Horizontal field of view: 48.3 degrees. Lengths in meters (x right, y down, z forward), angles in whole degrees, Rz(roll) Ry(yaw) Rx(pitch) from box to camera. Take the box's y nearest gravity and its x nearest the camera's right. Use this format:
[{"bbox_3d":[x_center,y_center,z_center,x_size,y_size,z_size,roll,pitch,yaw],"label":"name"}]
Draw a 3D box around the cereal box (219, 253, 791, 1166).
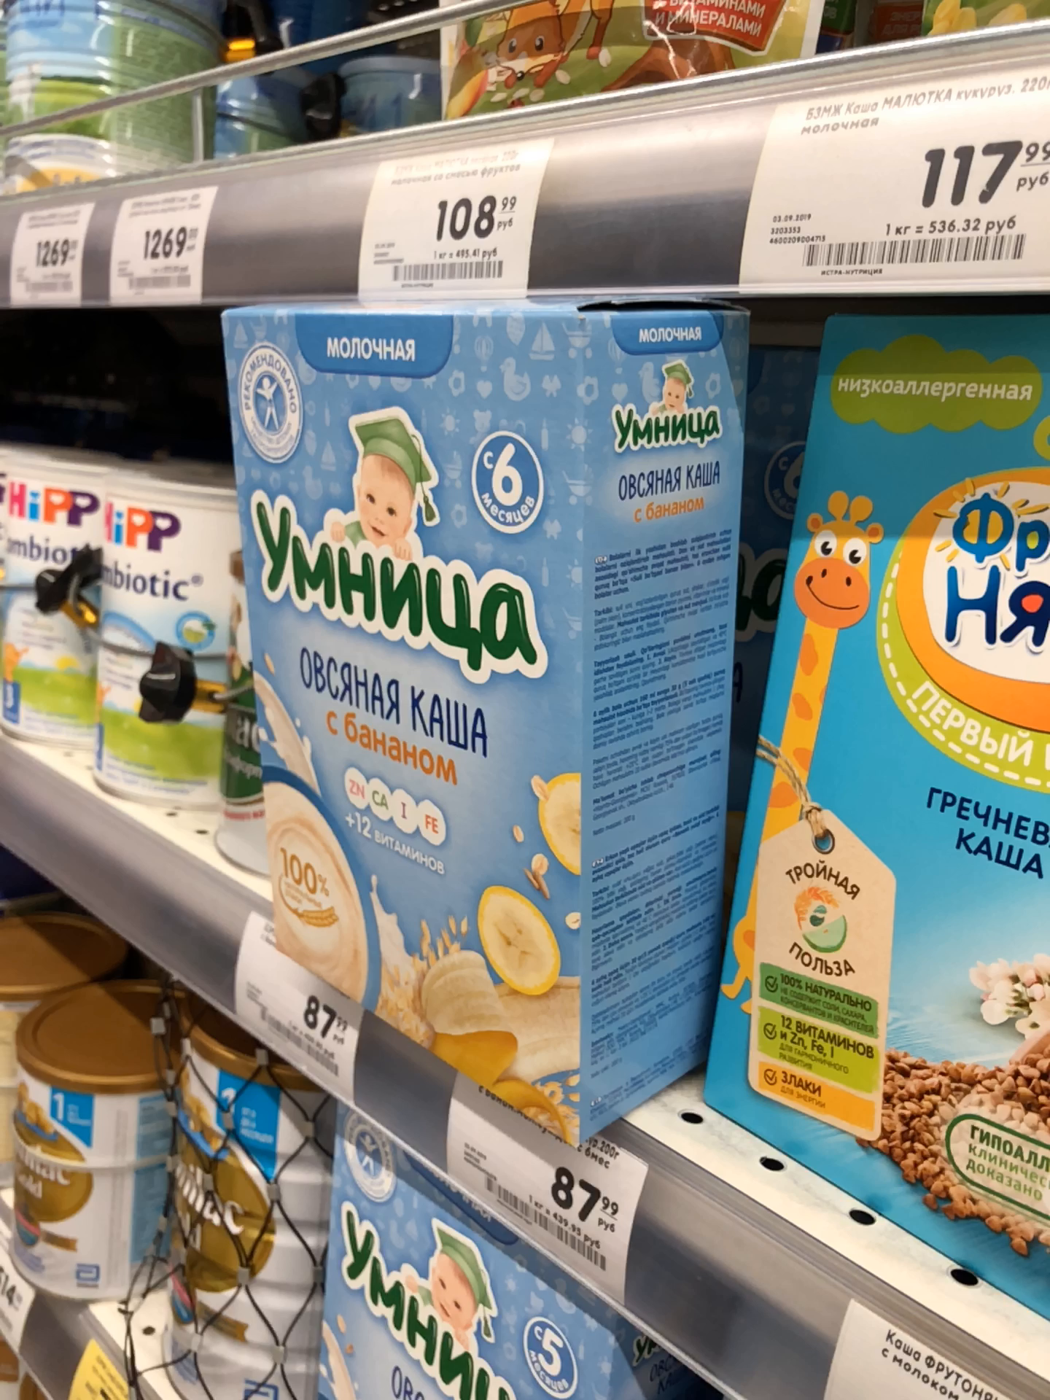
[{"bbox_3d":[-0.011,-0.008,0.328,0.060,0.209,0.150,-16,22,-41],"label":"cereal box"}]
